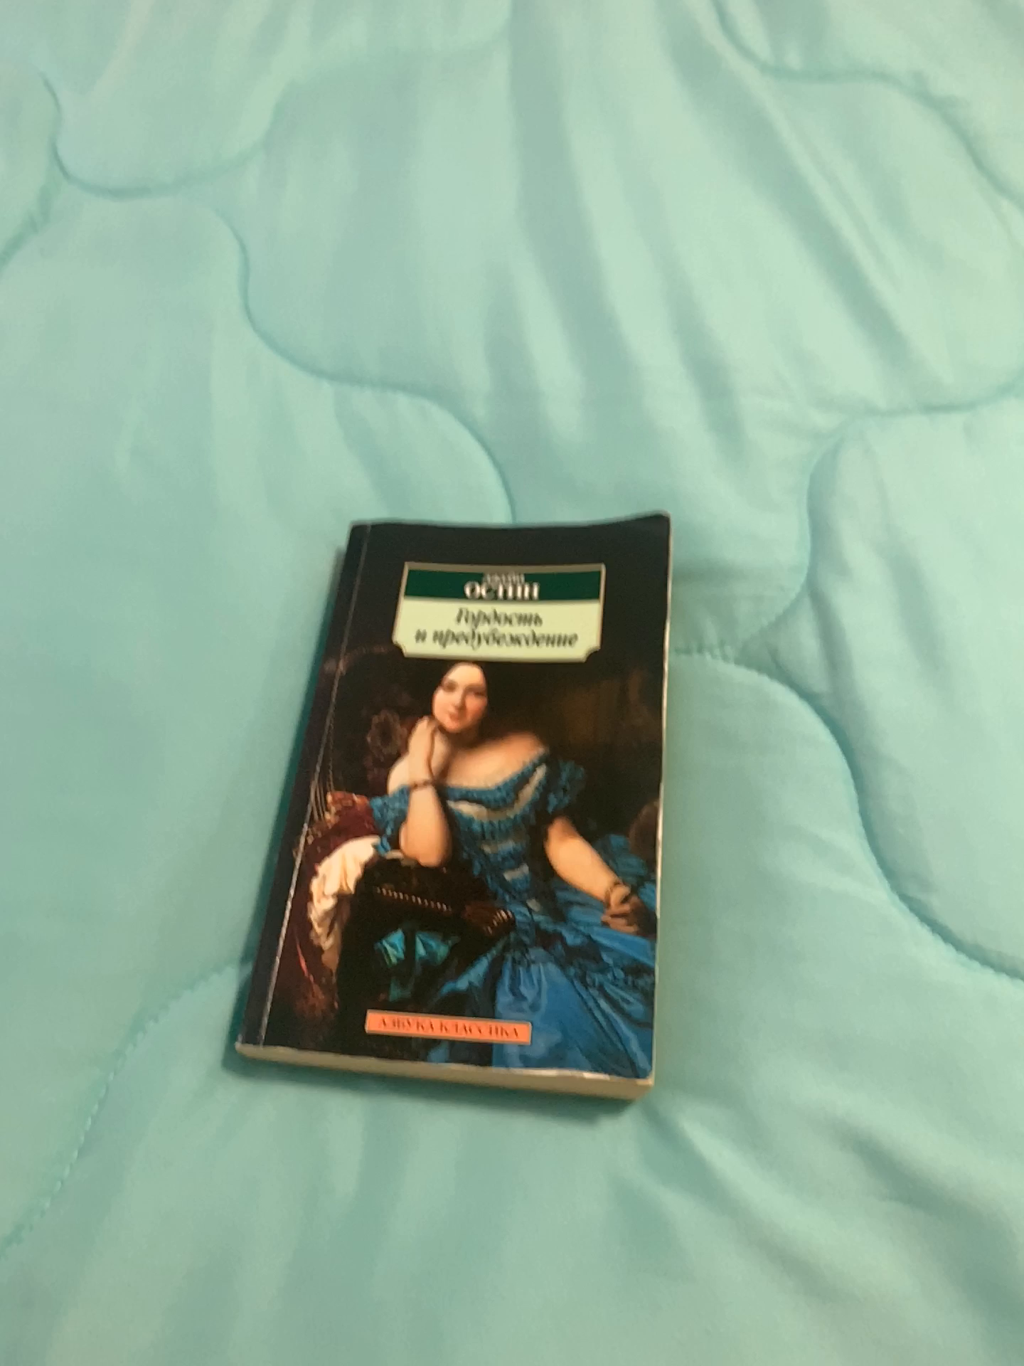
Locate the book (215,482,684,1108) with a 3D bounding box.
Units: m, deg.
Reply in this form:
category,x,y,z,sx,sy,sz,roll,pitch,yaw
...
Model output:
category,x,y,z,sx,sy,sz,roll,pitch,yaw
book,-0.009,0.026,0.318,0.110,0.044,0.173,6,61,2
